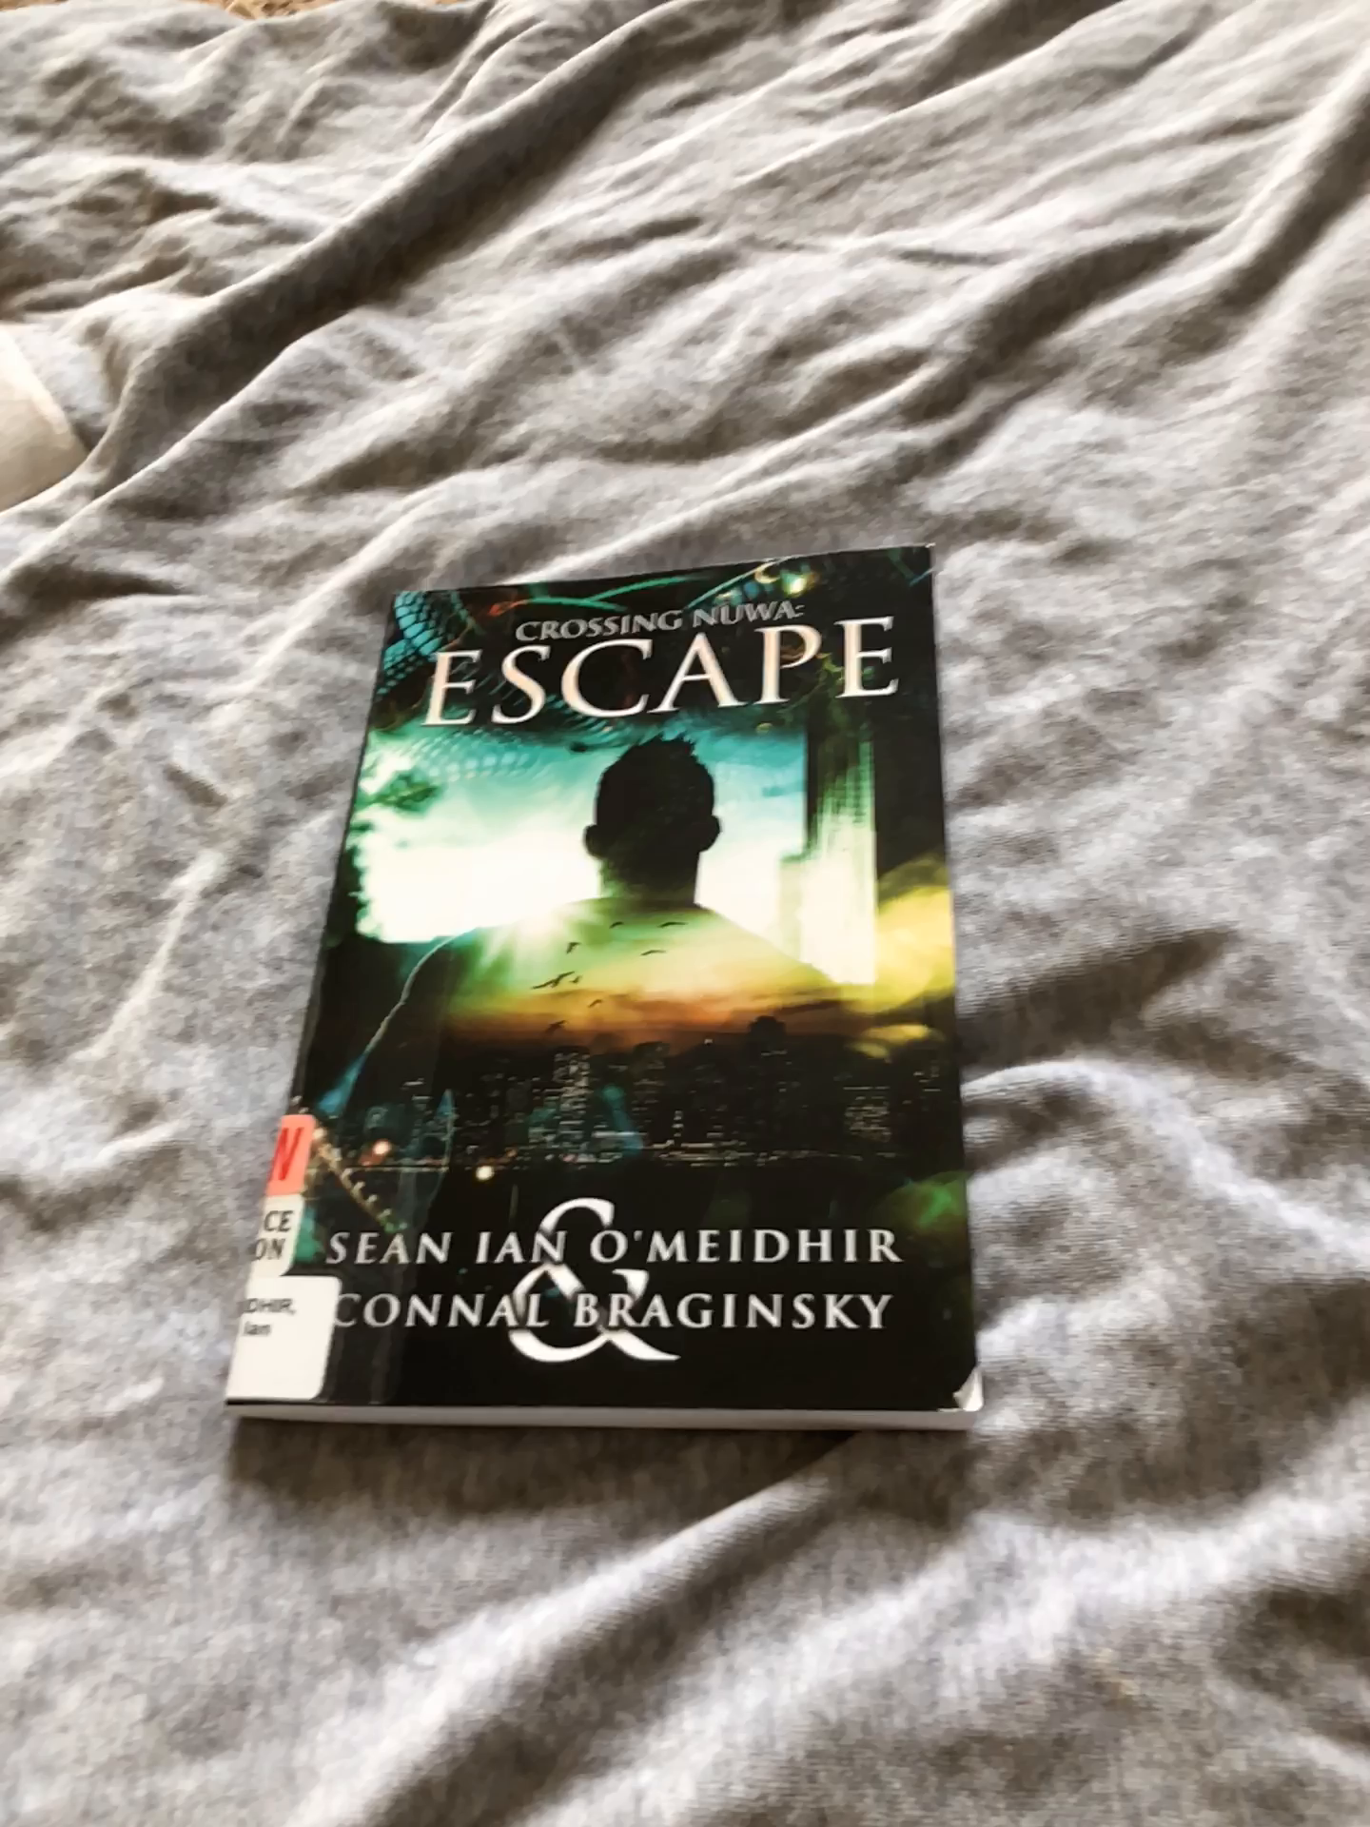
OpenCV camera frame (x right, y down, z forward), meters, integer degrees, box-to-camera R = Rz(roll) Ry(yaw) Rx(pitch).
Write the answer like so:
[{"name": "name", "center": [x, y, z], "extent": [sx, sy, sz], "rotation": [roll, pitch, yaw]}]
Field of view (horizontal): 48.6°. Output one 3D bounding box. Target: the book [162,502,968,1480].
[{"name": "book", "center": [-0.018, 0.004, 0.373], "extent": [0.160, 0.030, 0.250], "rotation": [-2, 57, 9]}]
